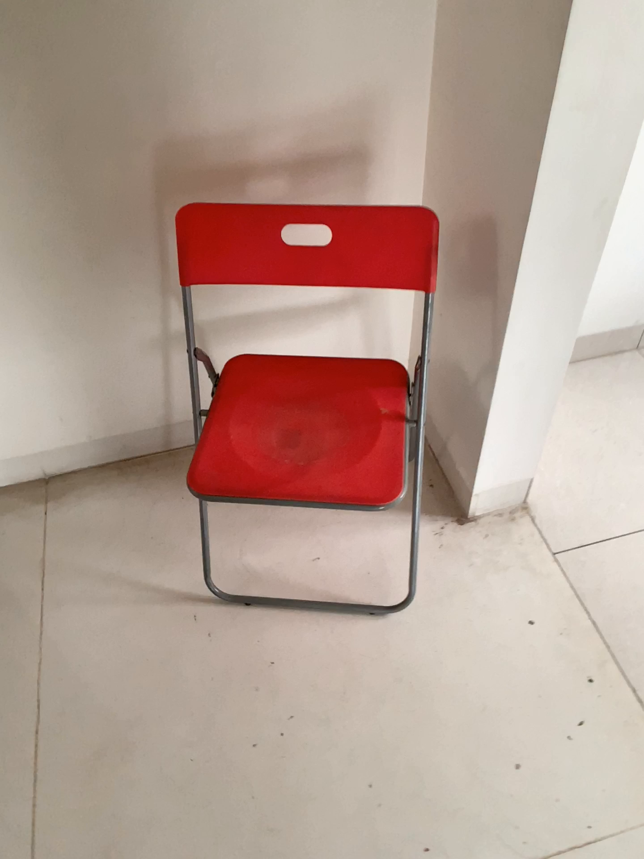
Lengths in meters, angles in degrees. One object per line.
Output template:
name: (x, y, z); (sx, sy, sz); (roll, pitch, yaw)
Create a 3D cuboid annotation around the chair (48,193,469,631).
chair: (-0.051, -0.023, 1.207); (0.530, 0.608, 0.502); (2, 47, 5)
